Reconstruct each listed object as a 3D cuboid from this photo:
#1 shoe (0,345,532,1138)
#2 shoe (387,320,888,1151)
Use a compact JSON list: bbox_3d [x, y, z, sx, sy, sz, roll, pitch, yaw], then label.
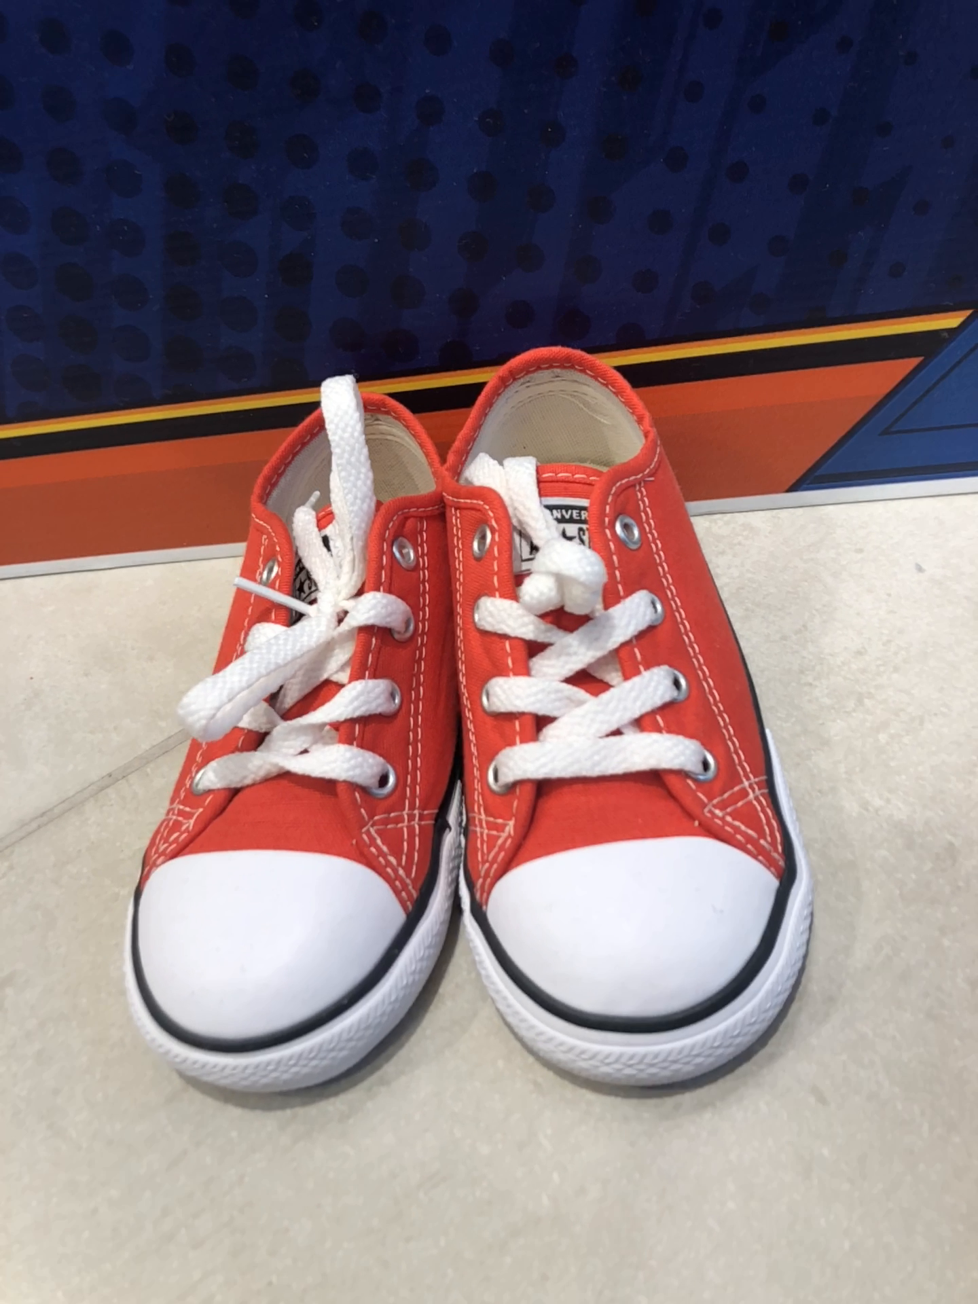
[{"bbox_3d":[-0.039,0.009,0.271,0.080,0.070,0.191,-3,46,11],"label":"shoe"},{"bbox_3d":[0.023,0.005,0.264,0.080,0.070,0.191,-9,45,5],"label":"shoe"}]
